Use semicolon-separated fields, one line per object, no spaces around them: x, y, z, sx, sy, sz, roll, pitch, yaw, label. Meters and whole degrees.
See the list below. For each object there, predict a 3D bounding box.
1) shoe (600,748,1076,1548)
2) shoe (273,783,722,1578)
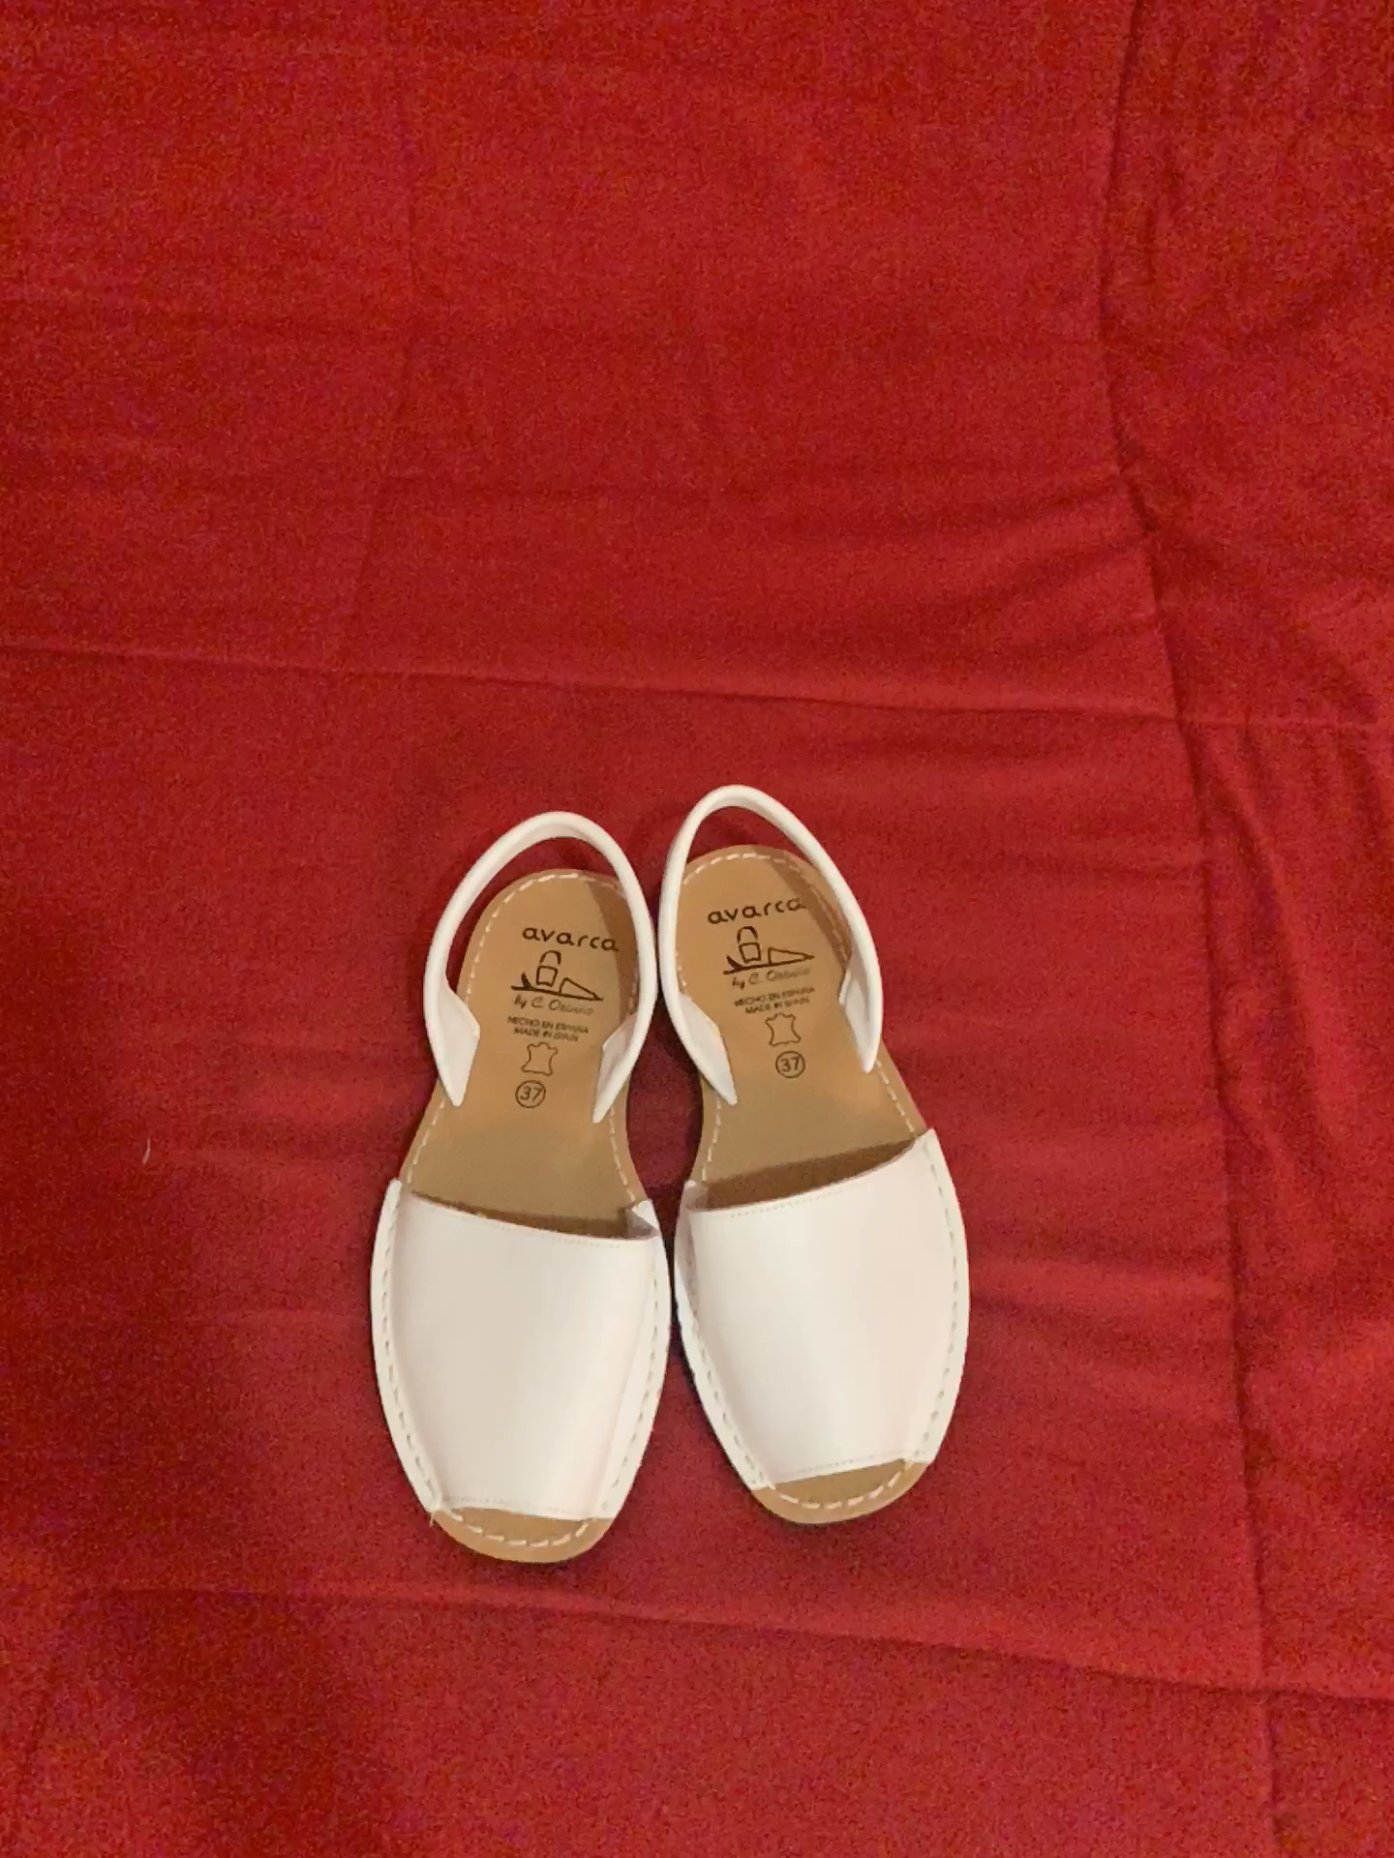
0.036;0.064;0.483;0.103;0.063;0.250;-8;61;-4;shoe
-0.053;0.074;0.476;0.108;0.063;0.248;4;61;2;shoe
